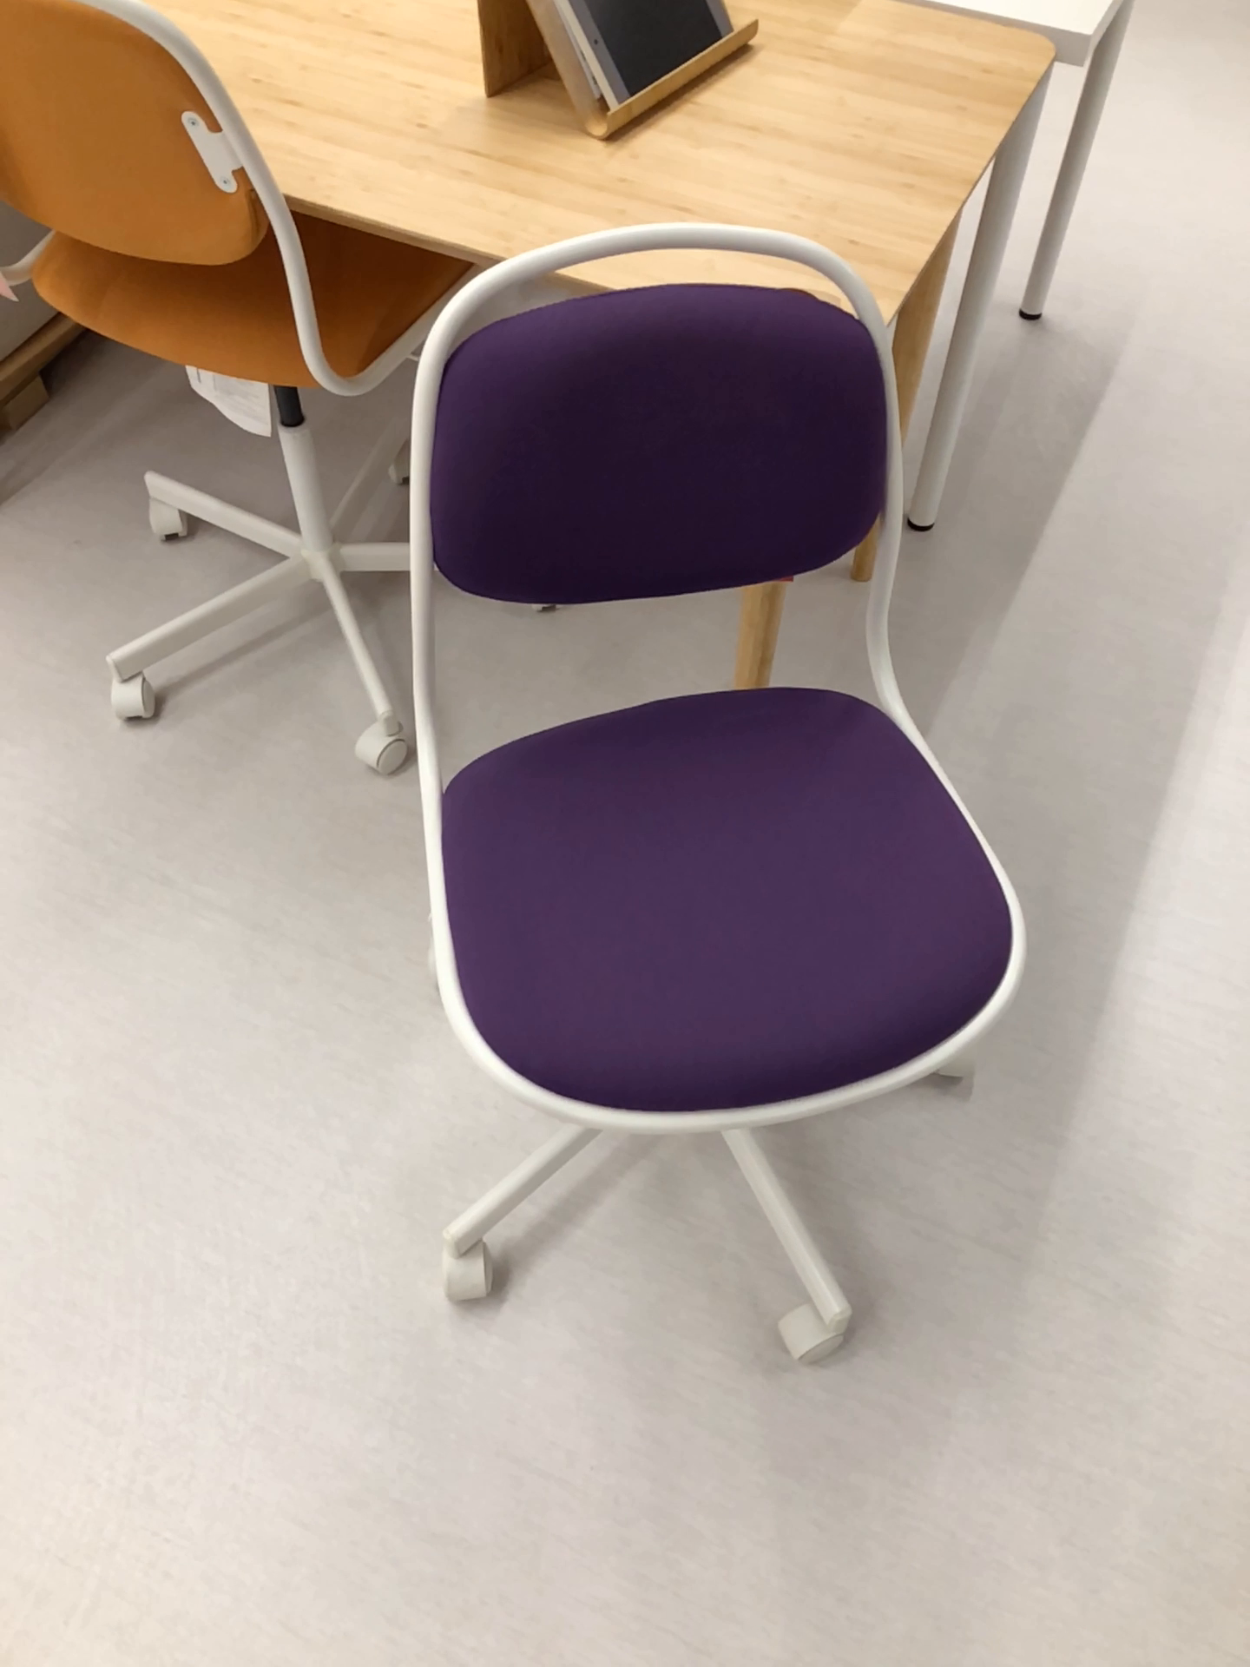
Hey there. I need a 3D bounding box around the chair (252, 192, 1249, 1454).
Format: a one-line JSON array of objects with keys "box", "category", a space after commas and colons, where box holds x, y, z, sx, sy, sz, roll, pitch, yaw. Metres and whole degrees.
[{"box": [0.082, 0.023, 1.167, 0.620, 0.776, 0.664, -8, 53, -8], "category": "chair"}]
